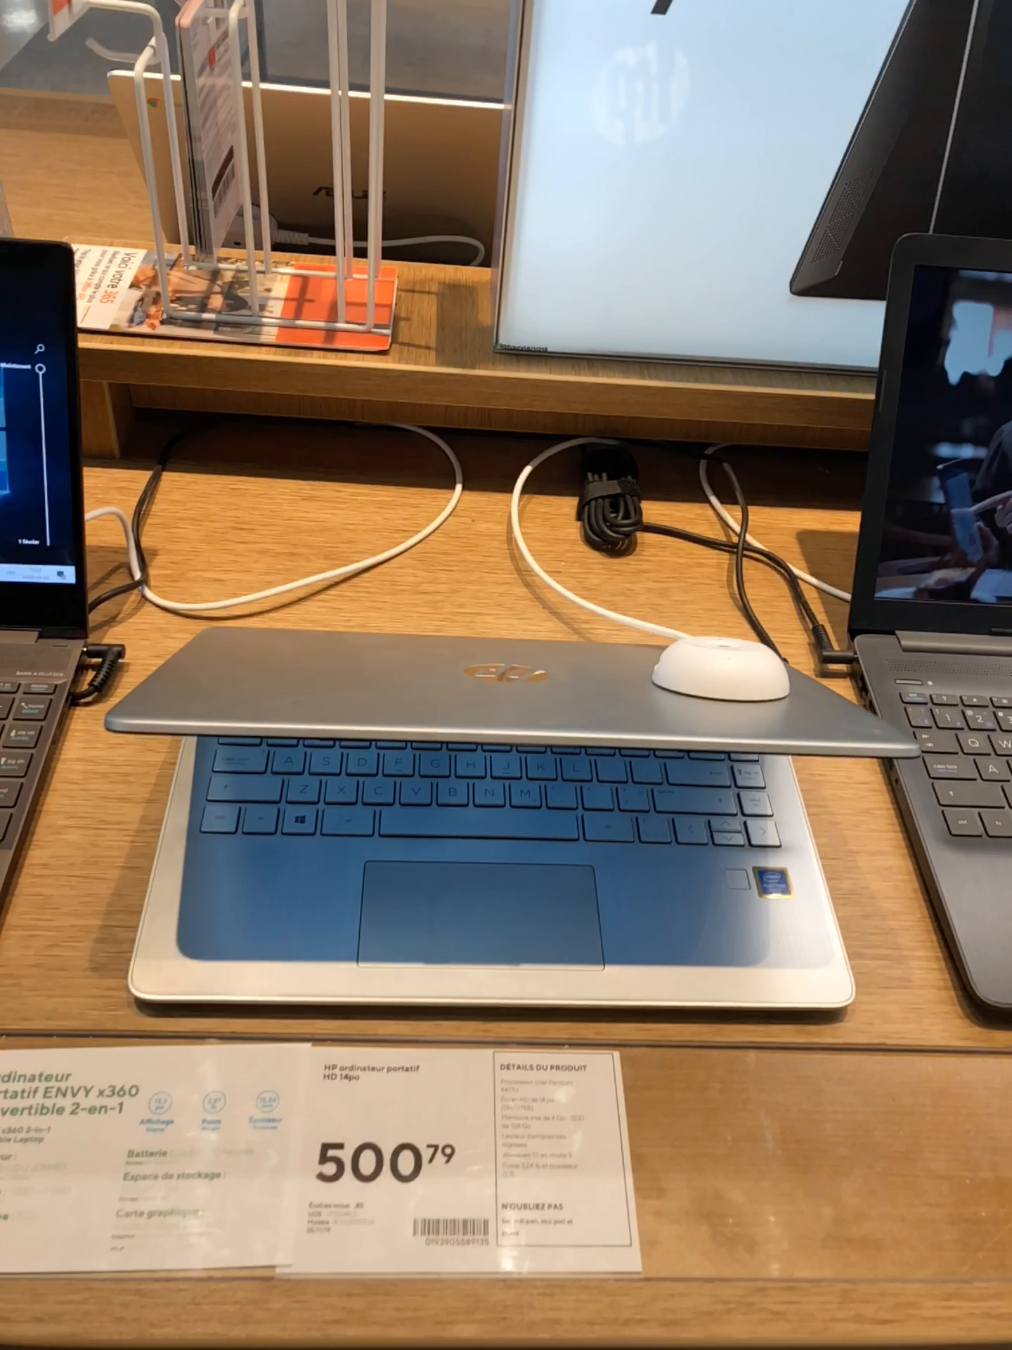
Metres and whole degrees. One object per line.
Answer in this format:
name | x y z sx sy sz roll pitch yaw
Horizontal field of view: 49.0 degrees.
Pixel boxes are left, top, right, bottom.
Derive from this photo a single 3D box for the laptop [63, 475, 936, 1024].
laptop | -0.006 0.028 0.510 0.314 0.110 0.217 2 46 -4
